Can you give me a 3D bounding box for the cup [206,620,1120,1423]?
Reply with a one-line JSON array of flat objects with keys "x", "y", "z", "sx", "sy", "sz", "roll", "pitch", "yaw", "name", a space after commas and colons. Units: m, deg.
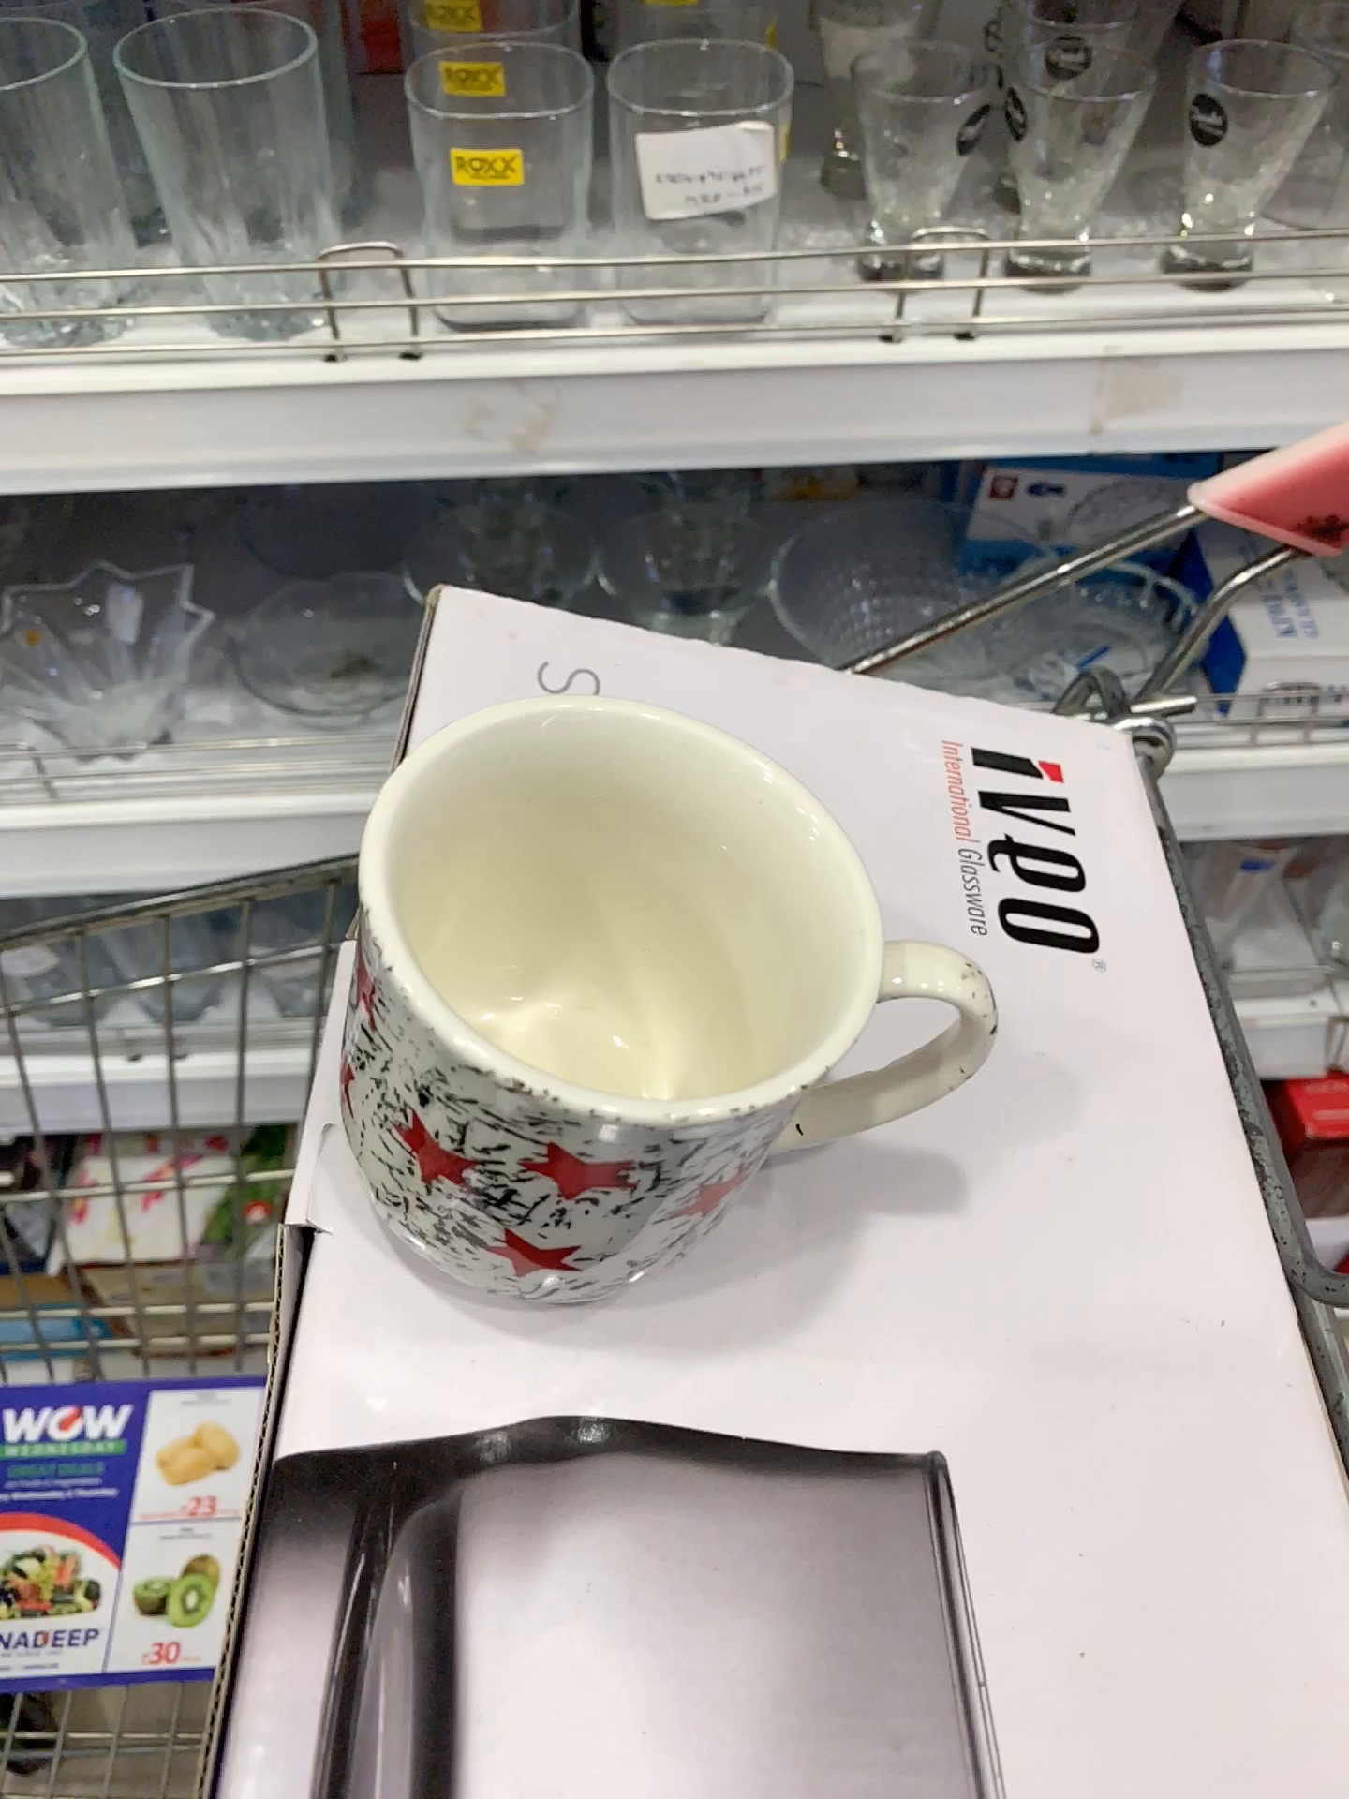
[{"x": -0.005, "y": 0.022, "z": 0.203, "sx": 0.100, "sy": 0.070, "sz": 0.070, "roll": 15, "pitch": 49, "yaw": -15, "name": "cup"}]
